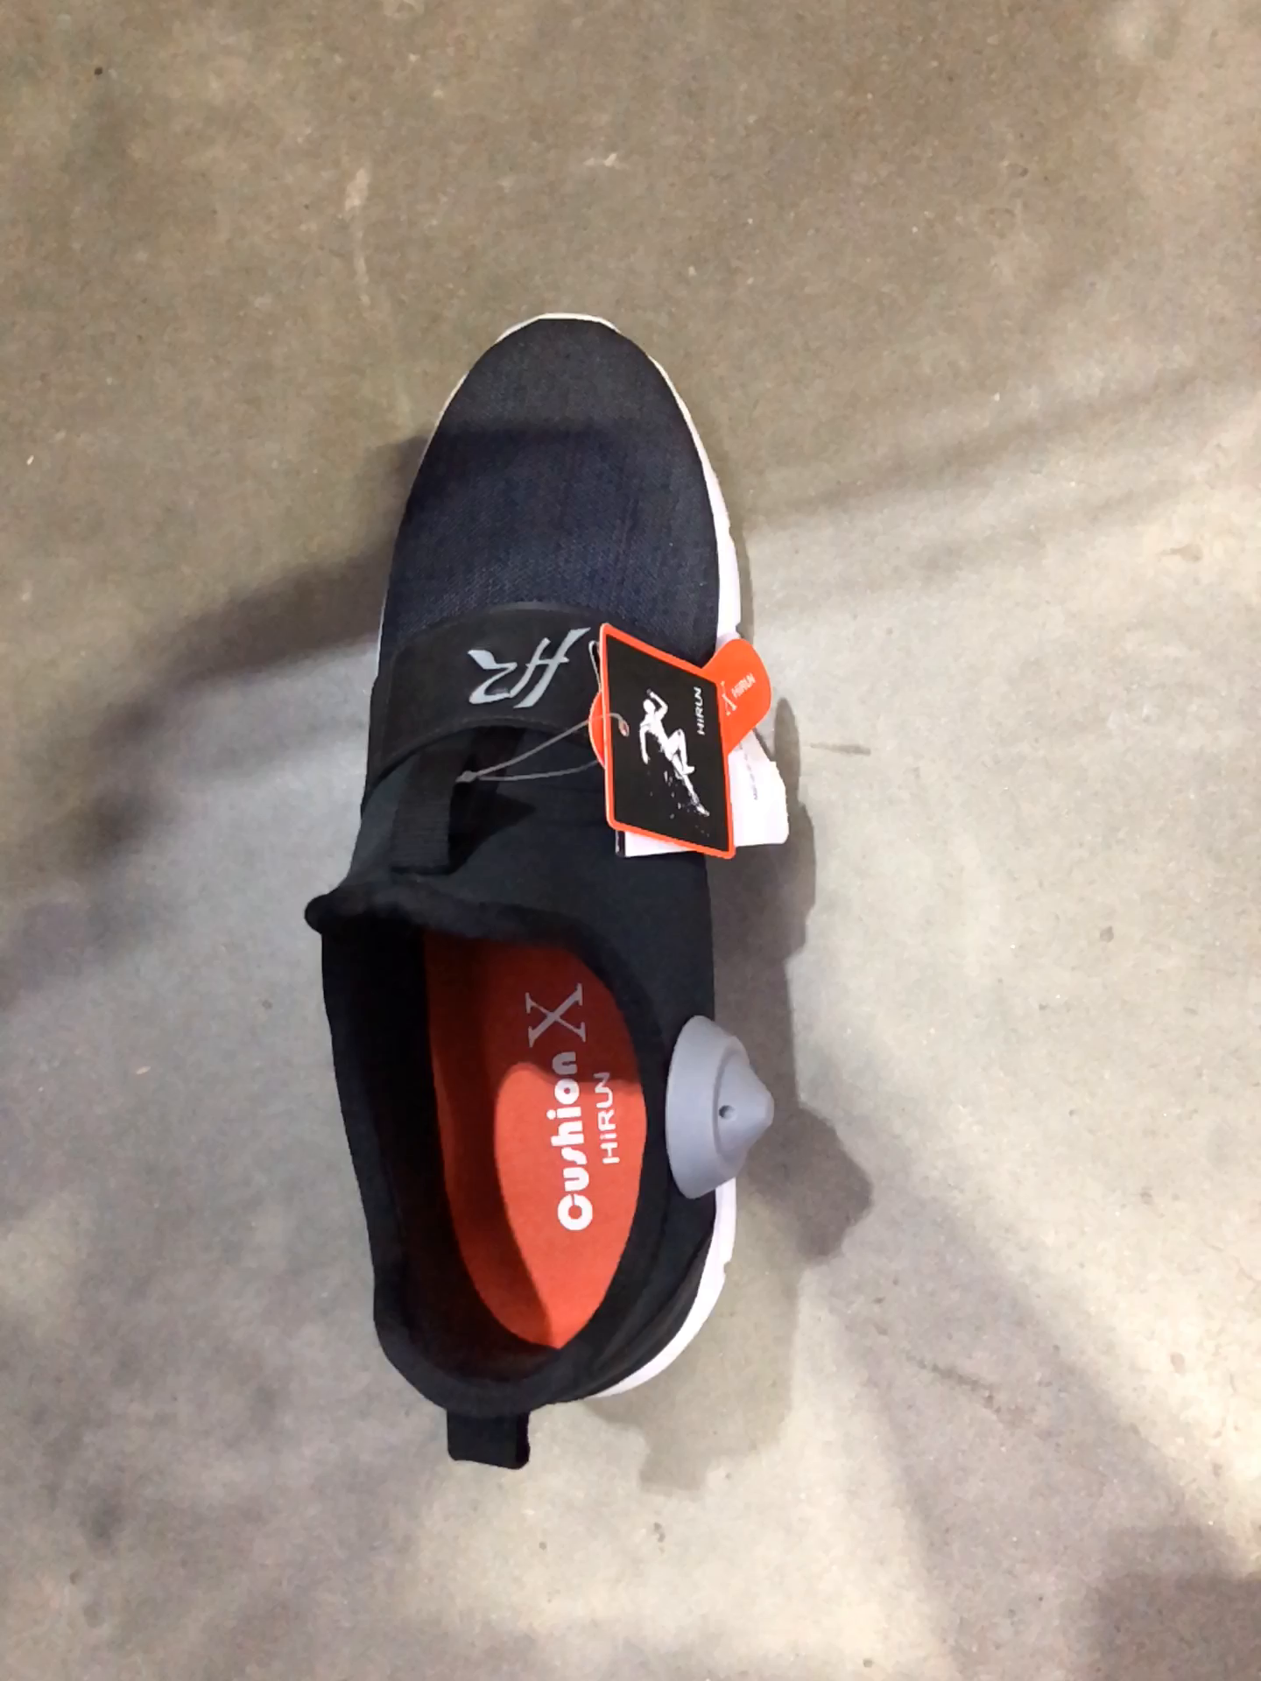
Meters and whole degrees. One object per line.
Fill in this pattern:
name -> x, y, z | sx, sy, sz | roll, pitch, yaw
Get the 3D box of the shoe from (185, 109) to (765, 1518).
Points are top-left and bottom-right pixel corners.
shoe -> -0.028, -0.004, 0.337 | 0.100, 0.130, 0.270 | -3, 83, 10
